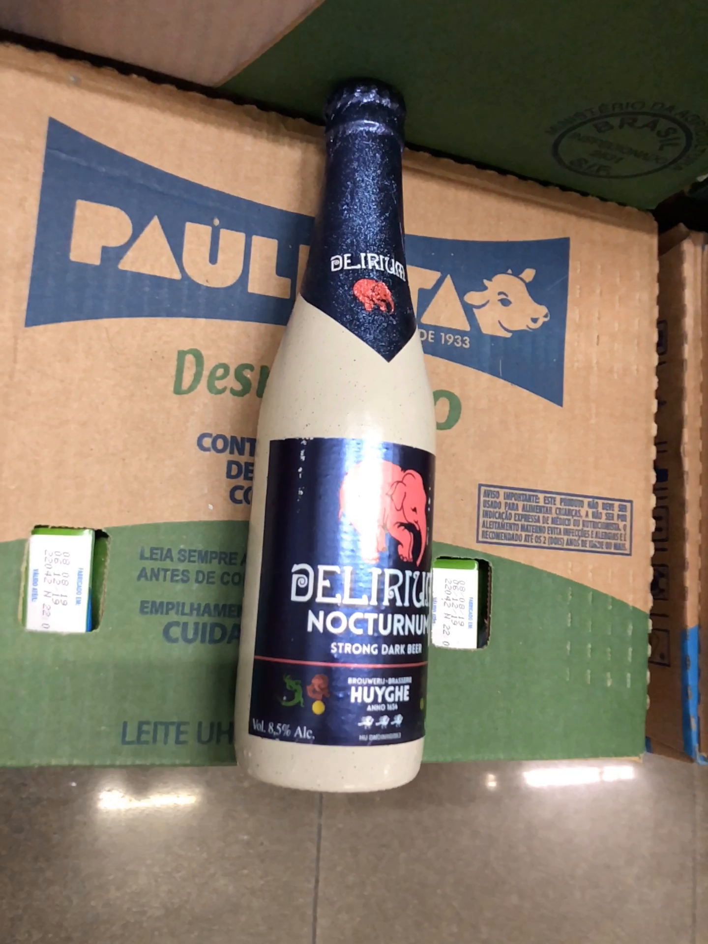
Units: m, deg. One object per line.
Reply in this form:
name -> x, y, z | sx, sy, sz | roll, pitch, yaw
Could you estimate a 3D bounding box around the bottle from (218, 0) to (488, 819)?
bottle -> 0.001, -0.030, 0.250 | 0.060, 0.050, 0.250 | 6, 80, -20
